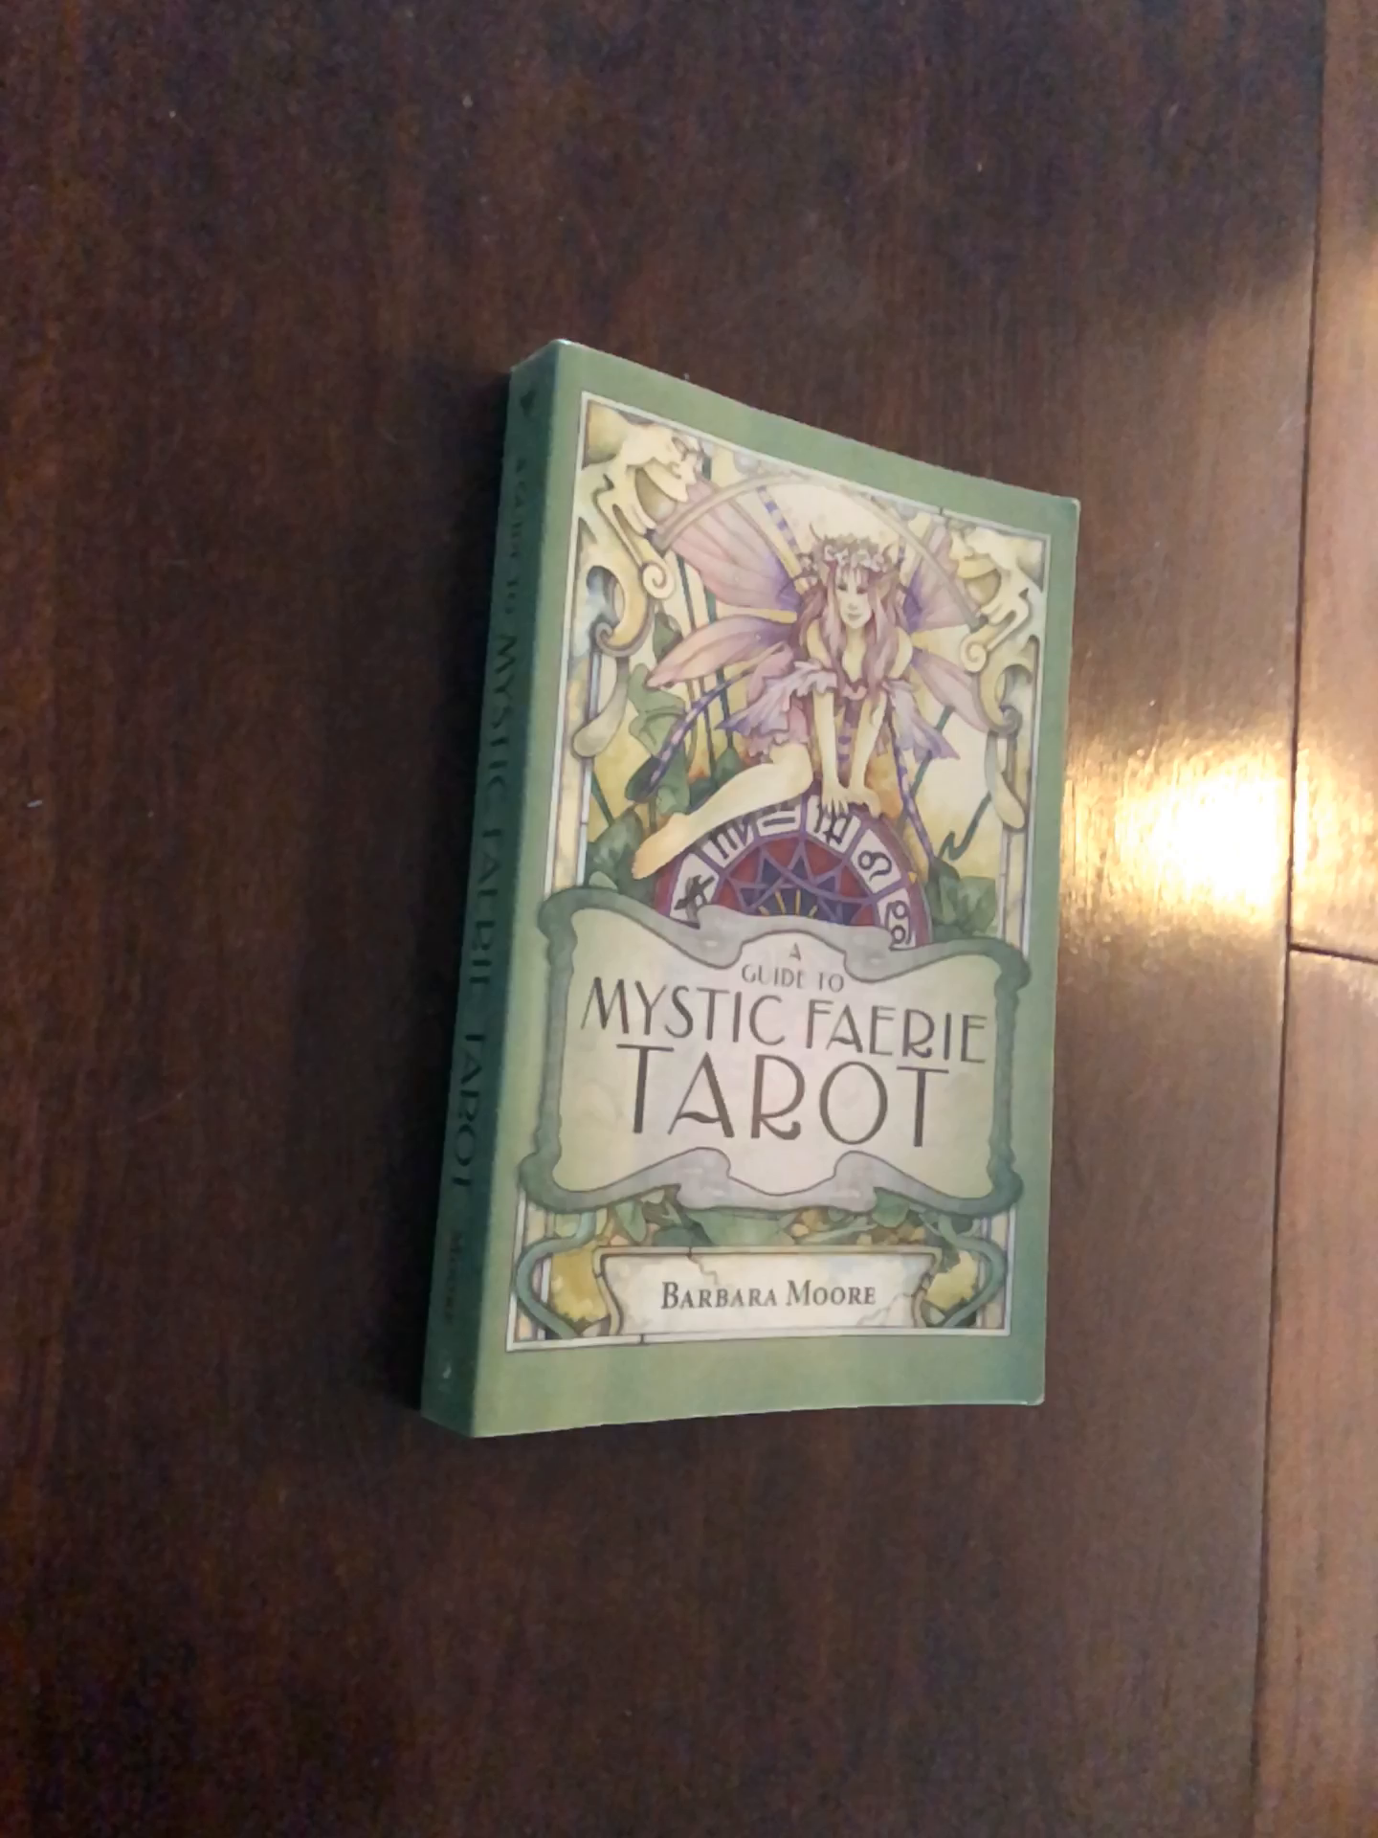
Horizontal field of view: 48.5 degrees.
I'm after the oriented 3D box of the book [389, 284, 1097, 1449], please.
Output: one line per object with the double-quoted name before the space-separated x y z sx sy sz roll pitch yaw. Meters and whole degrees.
"book" 0.019 -0.004 0.322 0.140 0.032 0.208 8 84 -33
